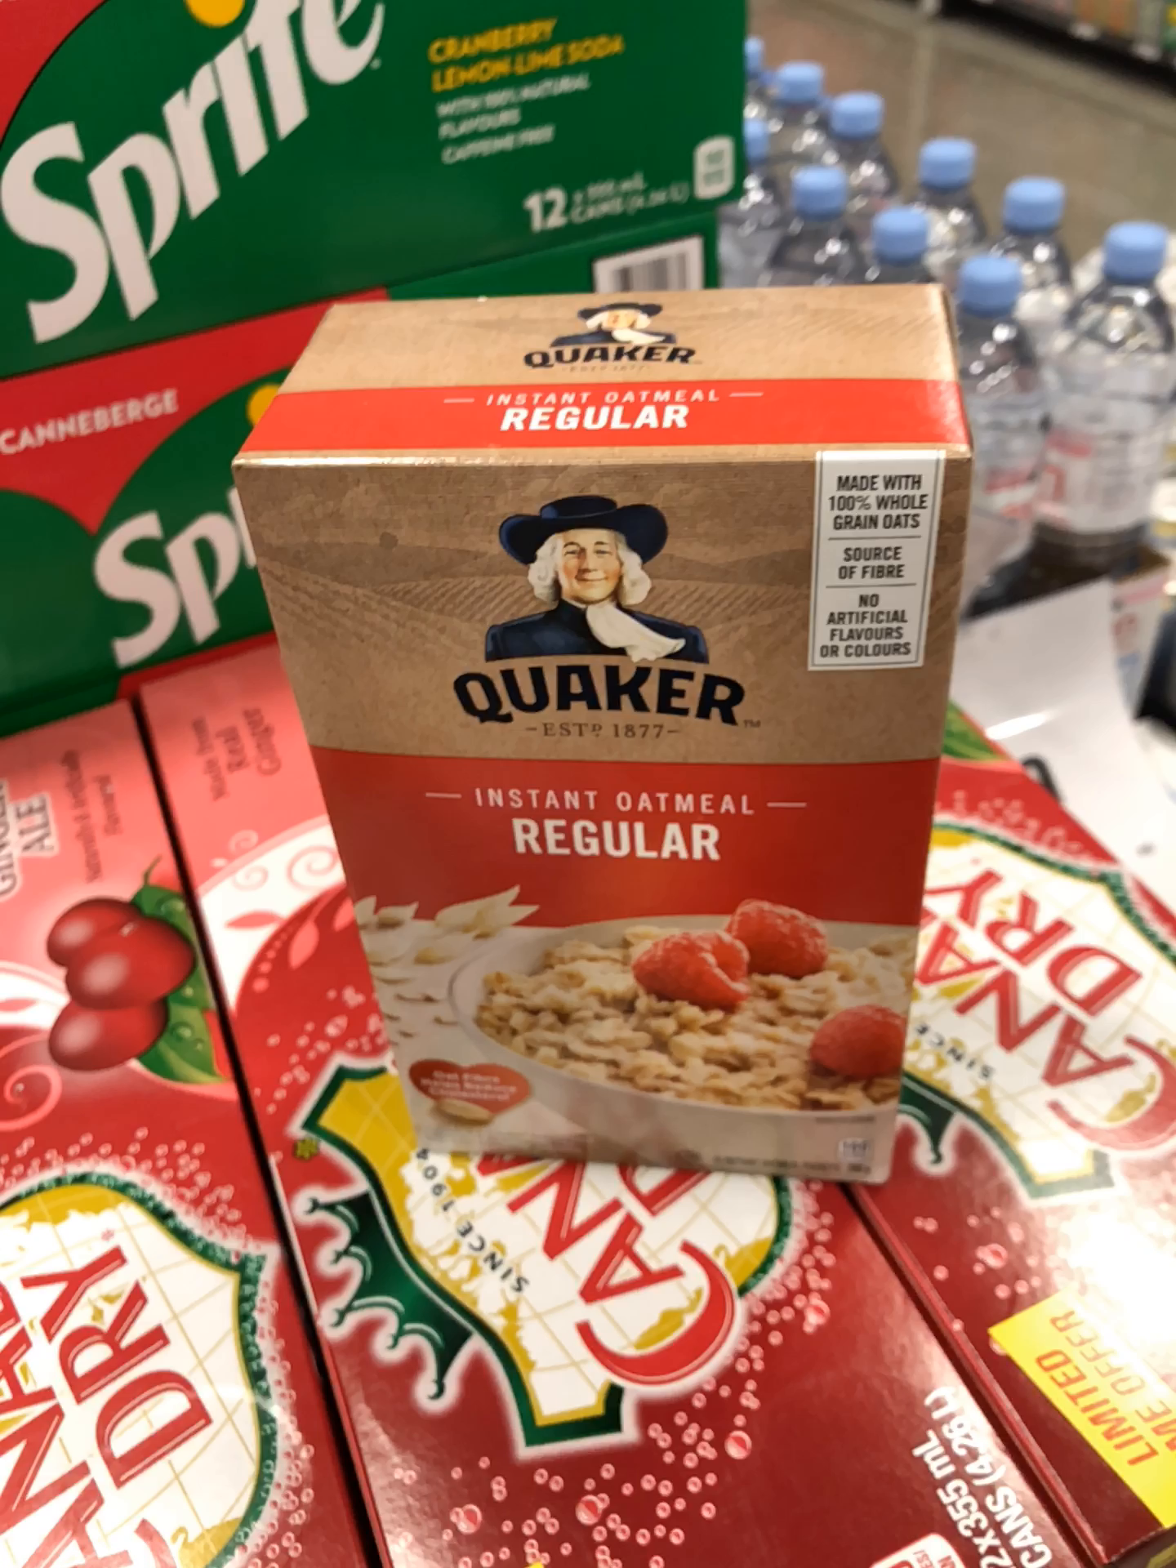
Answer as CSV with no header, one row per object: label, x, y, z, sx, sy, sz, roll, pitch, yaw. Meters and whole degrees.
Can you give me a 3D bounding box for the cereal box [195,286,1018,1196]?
cereal box,0.011,0.002,0.299,0.130,0.199,0.070,1,41,7
